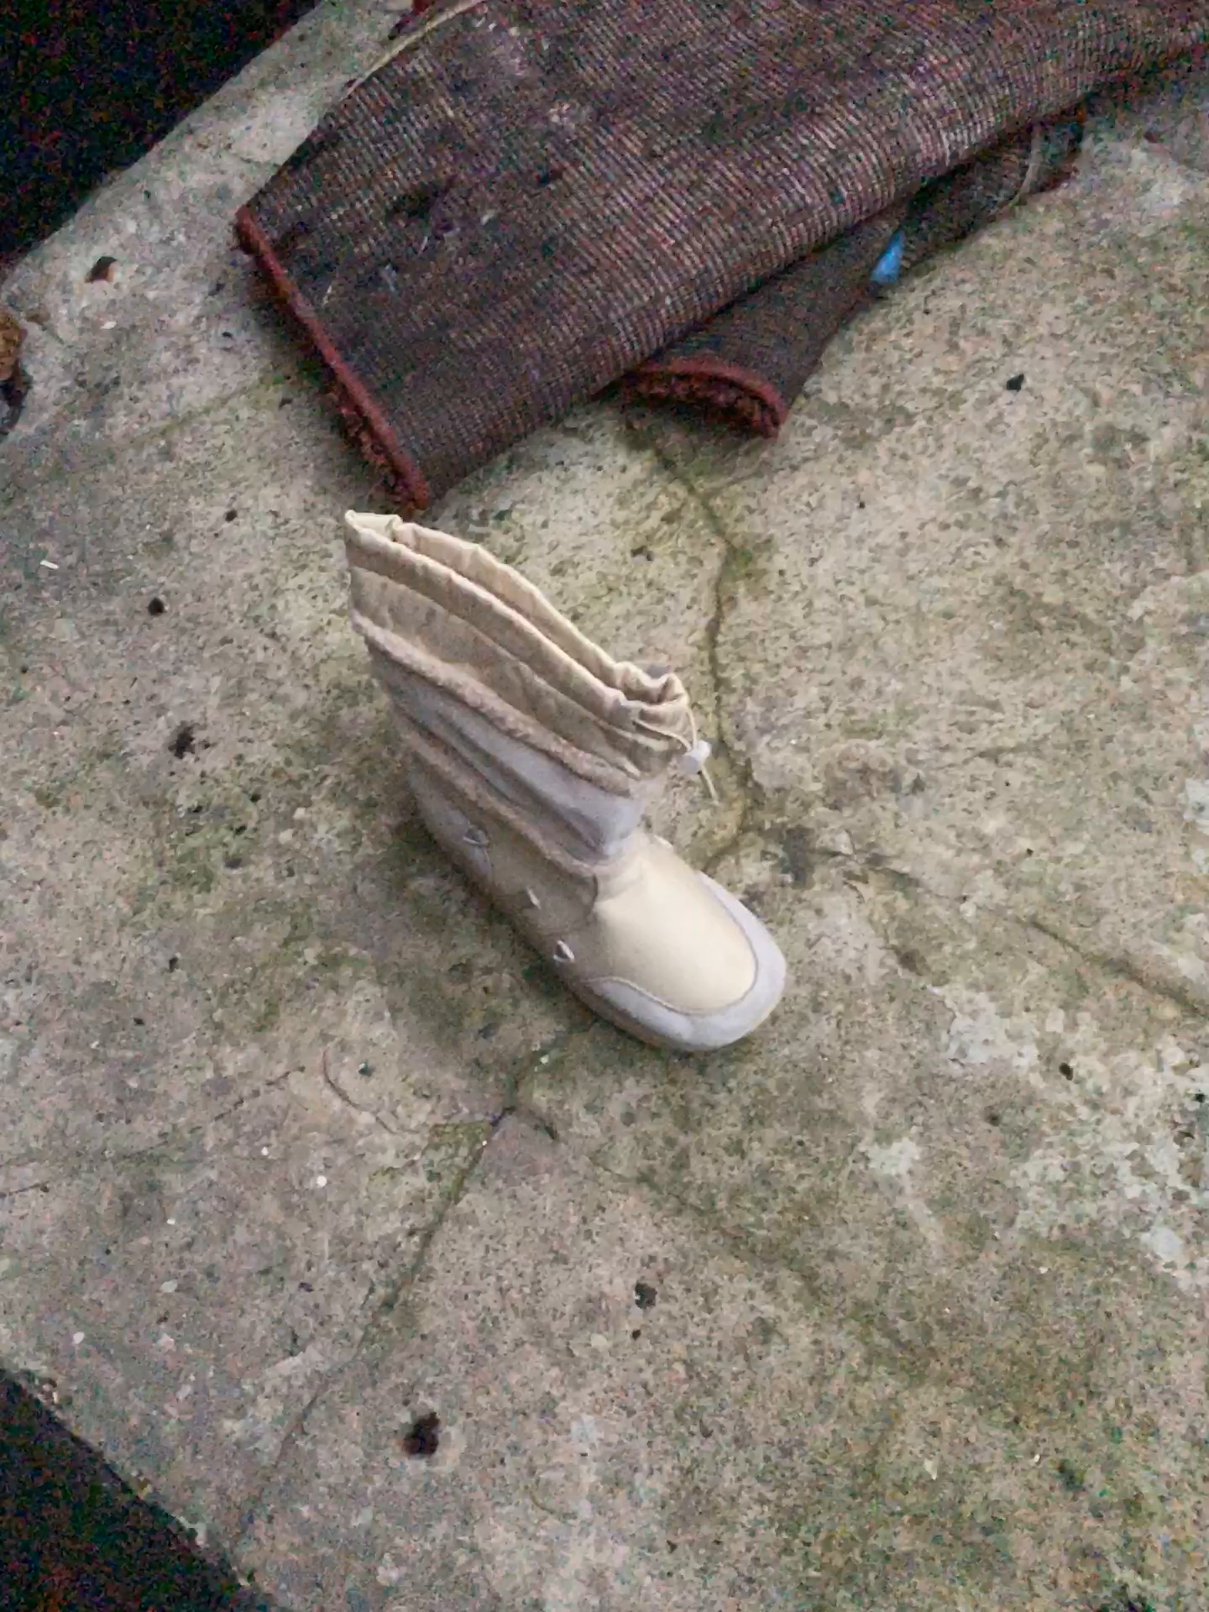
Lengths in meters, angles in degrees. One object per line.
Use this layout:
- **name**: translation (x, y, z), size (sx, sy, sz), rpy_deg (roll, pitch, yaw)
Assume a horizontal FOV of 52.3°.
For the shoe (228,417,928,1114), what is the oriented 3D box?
- **shoe**: translation (-0.011, 0.005, 0.642), size (0.270, 0.309, 0.120), rpy_deg (38, 75, 15)
